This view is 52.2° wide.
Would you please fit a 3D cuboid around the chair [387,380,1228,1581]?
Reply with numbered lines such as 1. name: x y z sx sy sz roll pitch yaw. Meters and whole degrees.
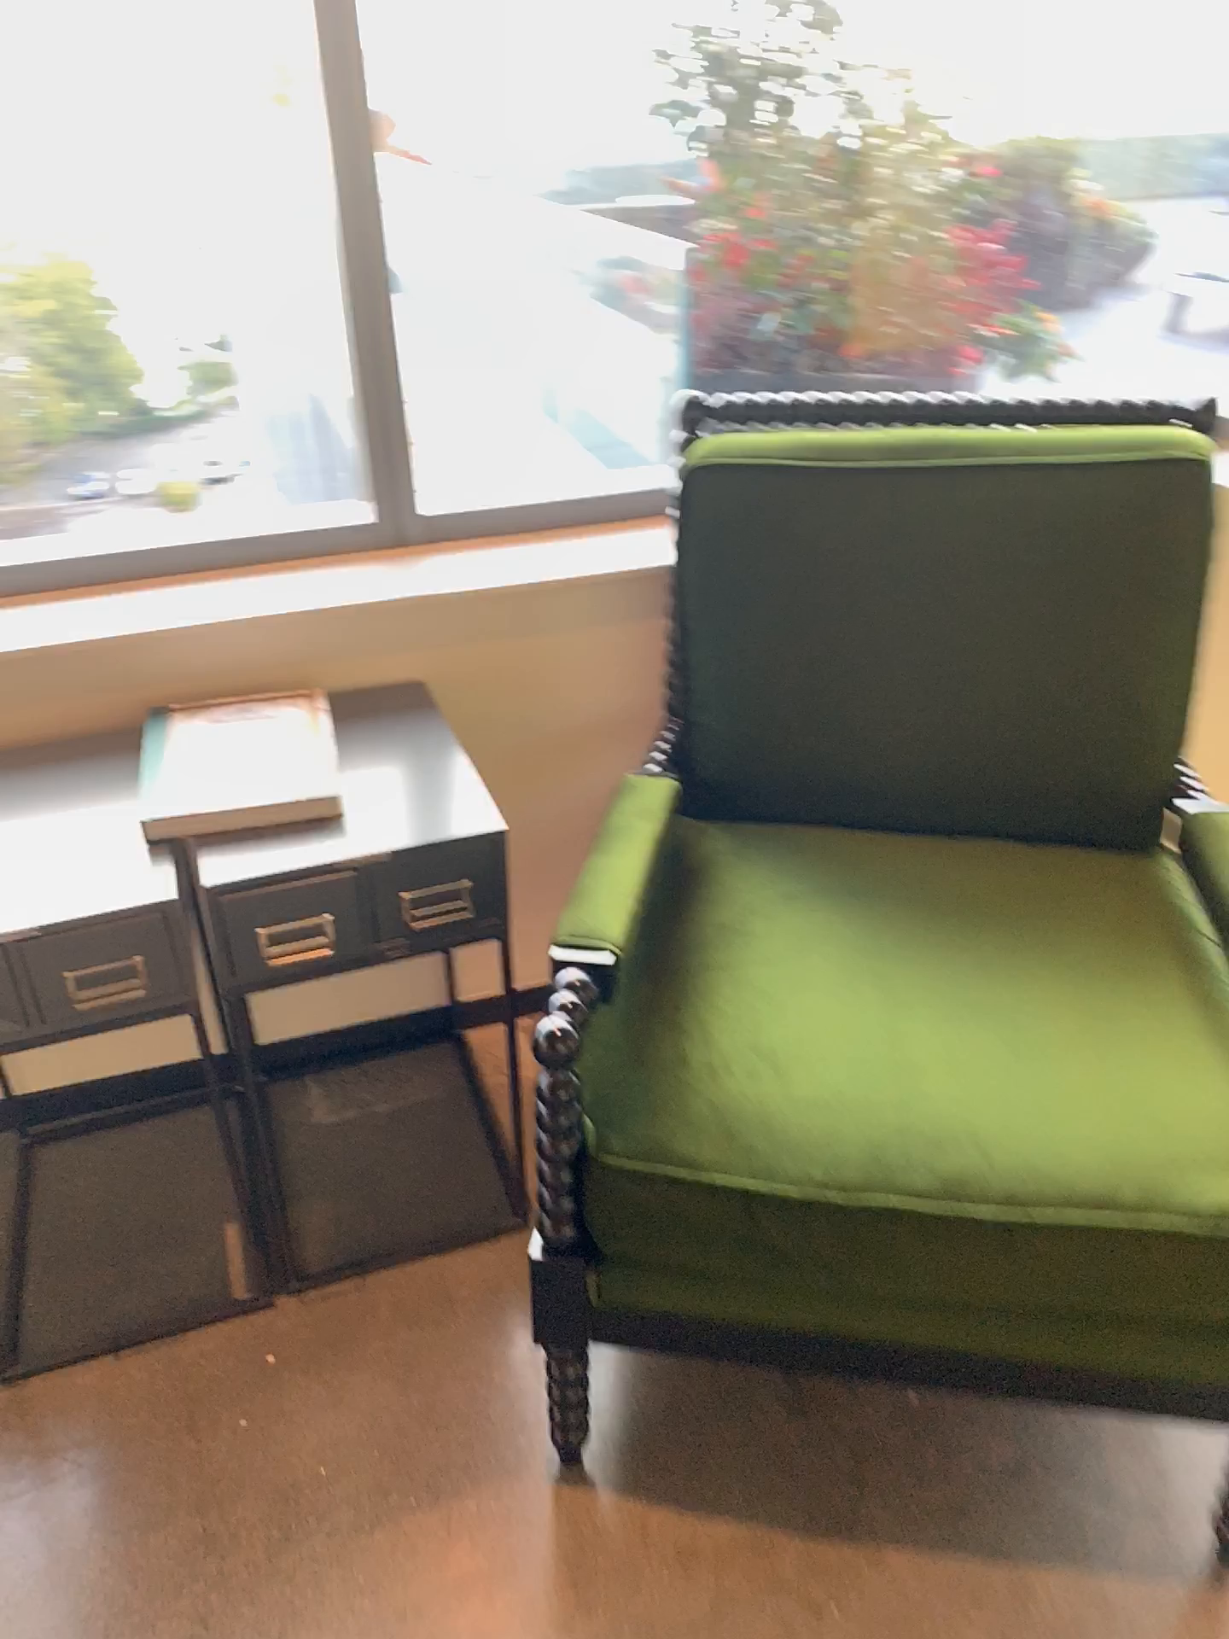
1. chair: 0.357 0.073 1.462 0.871 0.924 0.945 4 31 9
